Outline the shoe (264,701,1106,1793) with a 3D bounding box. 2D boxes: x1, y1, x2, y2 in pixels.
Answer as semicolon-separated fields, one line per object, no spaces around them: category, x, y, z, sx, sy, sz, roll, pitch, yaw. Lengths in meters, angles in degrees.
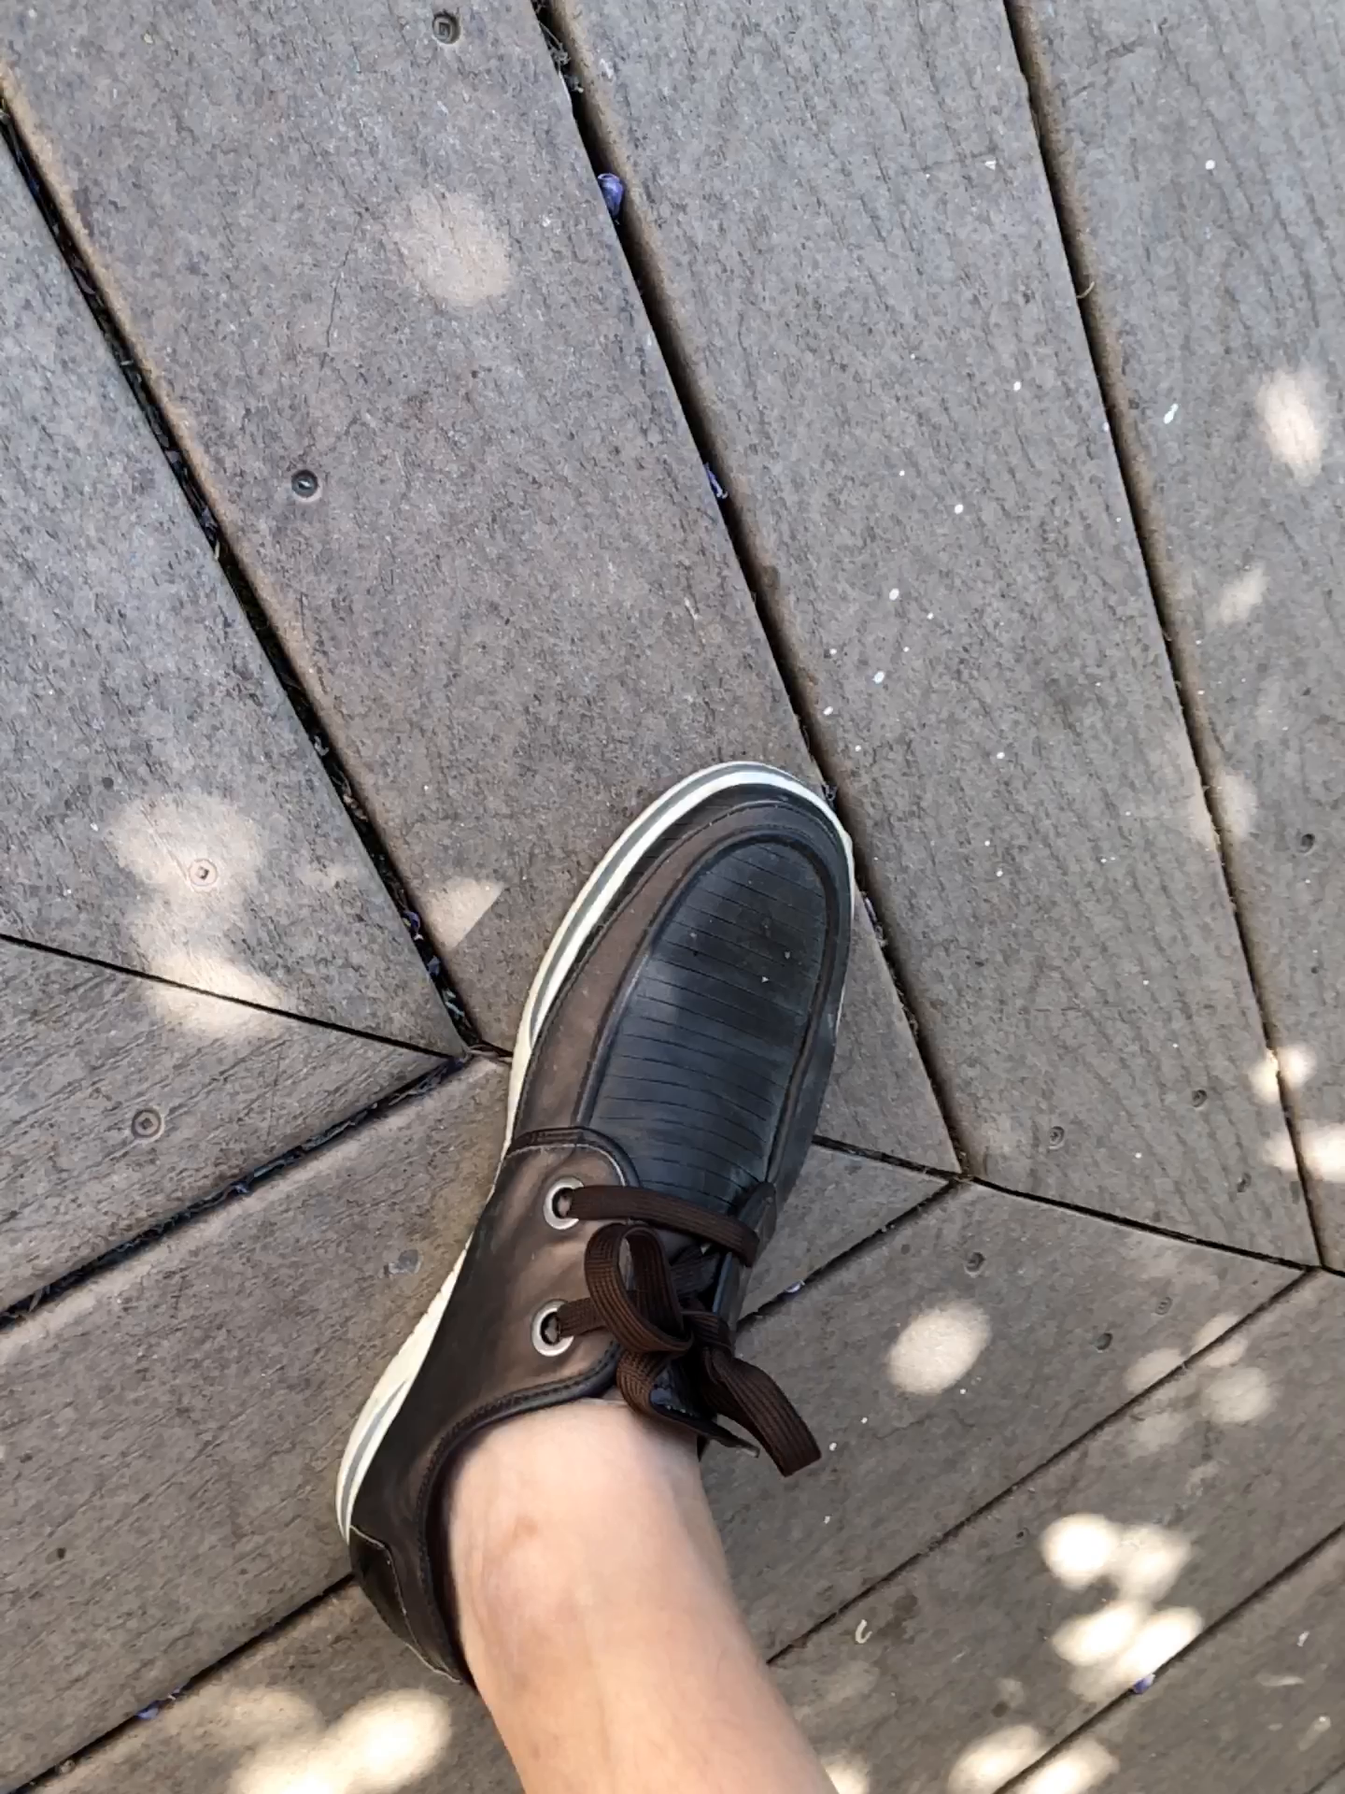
shoe;-0.003;0.102;0.432;0.107;0.096;0.289;24;92;-27
